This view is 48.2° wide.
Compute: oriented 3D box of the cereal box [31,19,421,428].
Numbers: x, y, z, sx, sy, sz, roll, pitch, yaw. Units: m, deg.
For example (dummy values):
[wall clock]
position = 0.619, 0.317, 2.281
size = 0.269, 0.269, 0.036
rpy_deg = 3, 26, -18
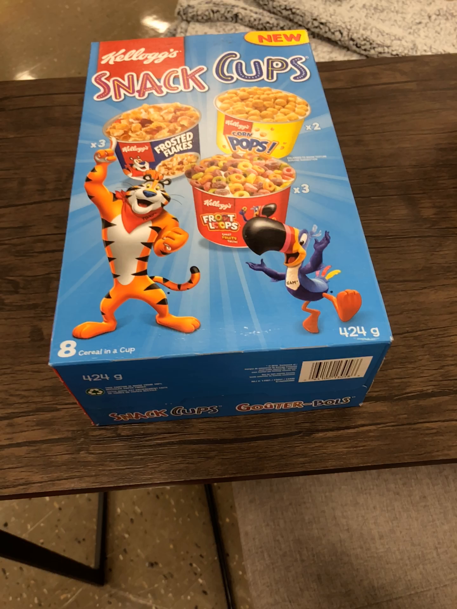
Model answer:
[cereal box]
position = -0.011, -0.084, 0.416
size = 0.220, 0.100, 0.331
rpy_deg = -4, 59, -1
